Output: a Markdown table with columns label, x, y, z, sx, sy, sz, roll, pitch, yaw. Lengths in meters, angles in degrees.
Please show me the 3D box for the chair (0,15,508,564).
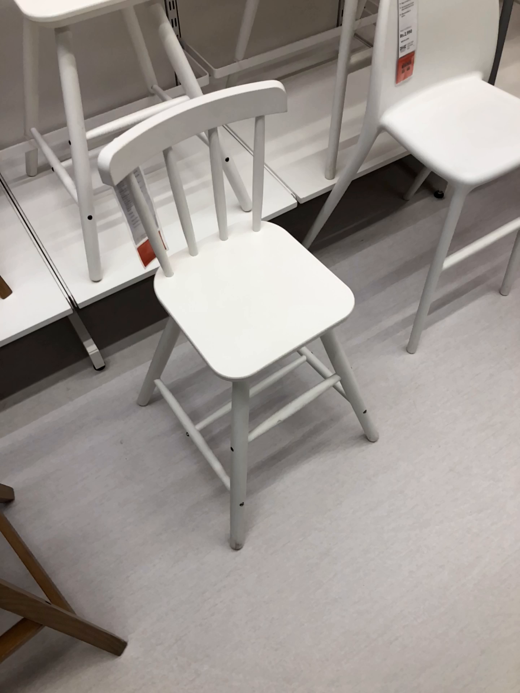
| label | x | y | z | sx | sy | sz | roll | pitch | yaw |
| --- | --- | --- | --- | --- | --- | --- | --- | --- | --- |
| chair | -0.021 | -0.044 | 1.081 | 0.471 | 0.796 | 0.502 | -32 | 61 | -19 |
